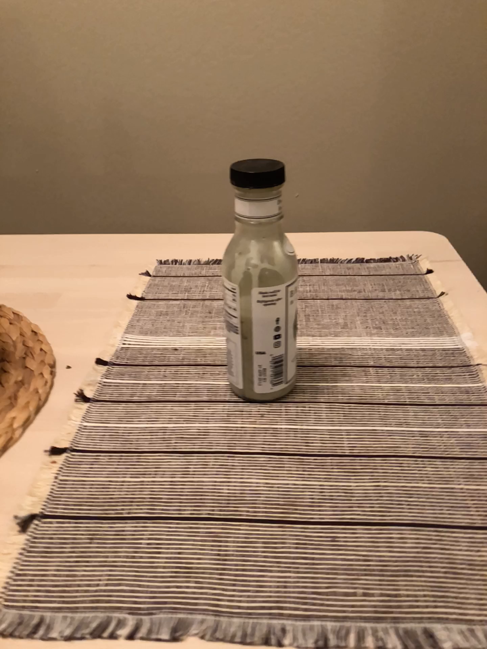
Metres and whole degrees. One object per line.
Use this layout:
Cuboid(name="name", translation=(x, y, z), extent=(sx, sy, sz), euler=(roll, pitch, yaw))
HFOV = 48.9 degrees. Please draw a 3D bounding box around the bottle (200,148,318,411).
Cuboid(name="bottle", translation=(0.011, -0.033, 0.424), extent=(0.069, 0.186, 0.075), euler=(-2, 29, 1))
